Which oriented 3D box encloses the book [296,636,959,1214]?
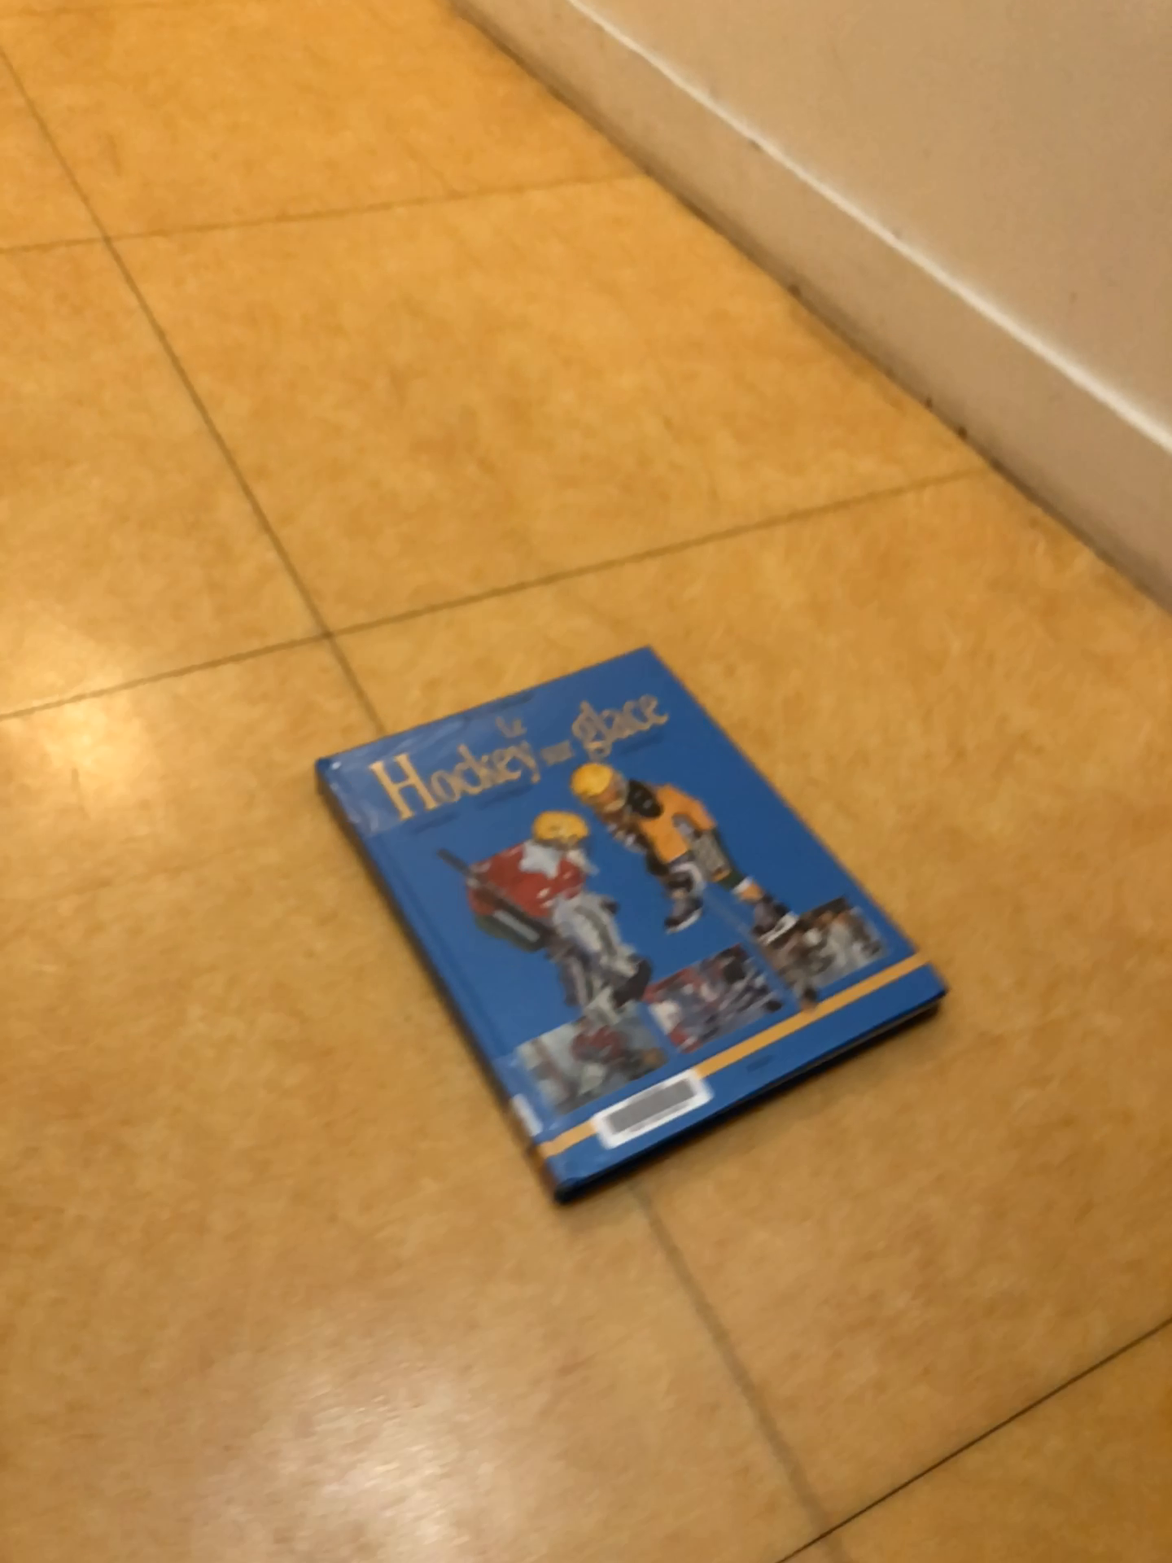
[{"bbox_3d":[0.012,0.045,0.622,0.211,0.020,0.260,-20,53,-24],"label":"book"}]
